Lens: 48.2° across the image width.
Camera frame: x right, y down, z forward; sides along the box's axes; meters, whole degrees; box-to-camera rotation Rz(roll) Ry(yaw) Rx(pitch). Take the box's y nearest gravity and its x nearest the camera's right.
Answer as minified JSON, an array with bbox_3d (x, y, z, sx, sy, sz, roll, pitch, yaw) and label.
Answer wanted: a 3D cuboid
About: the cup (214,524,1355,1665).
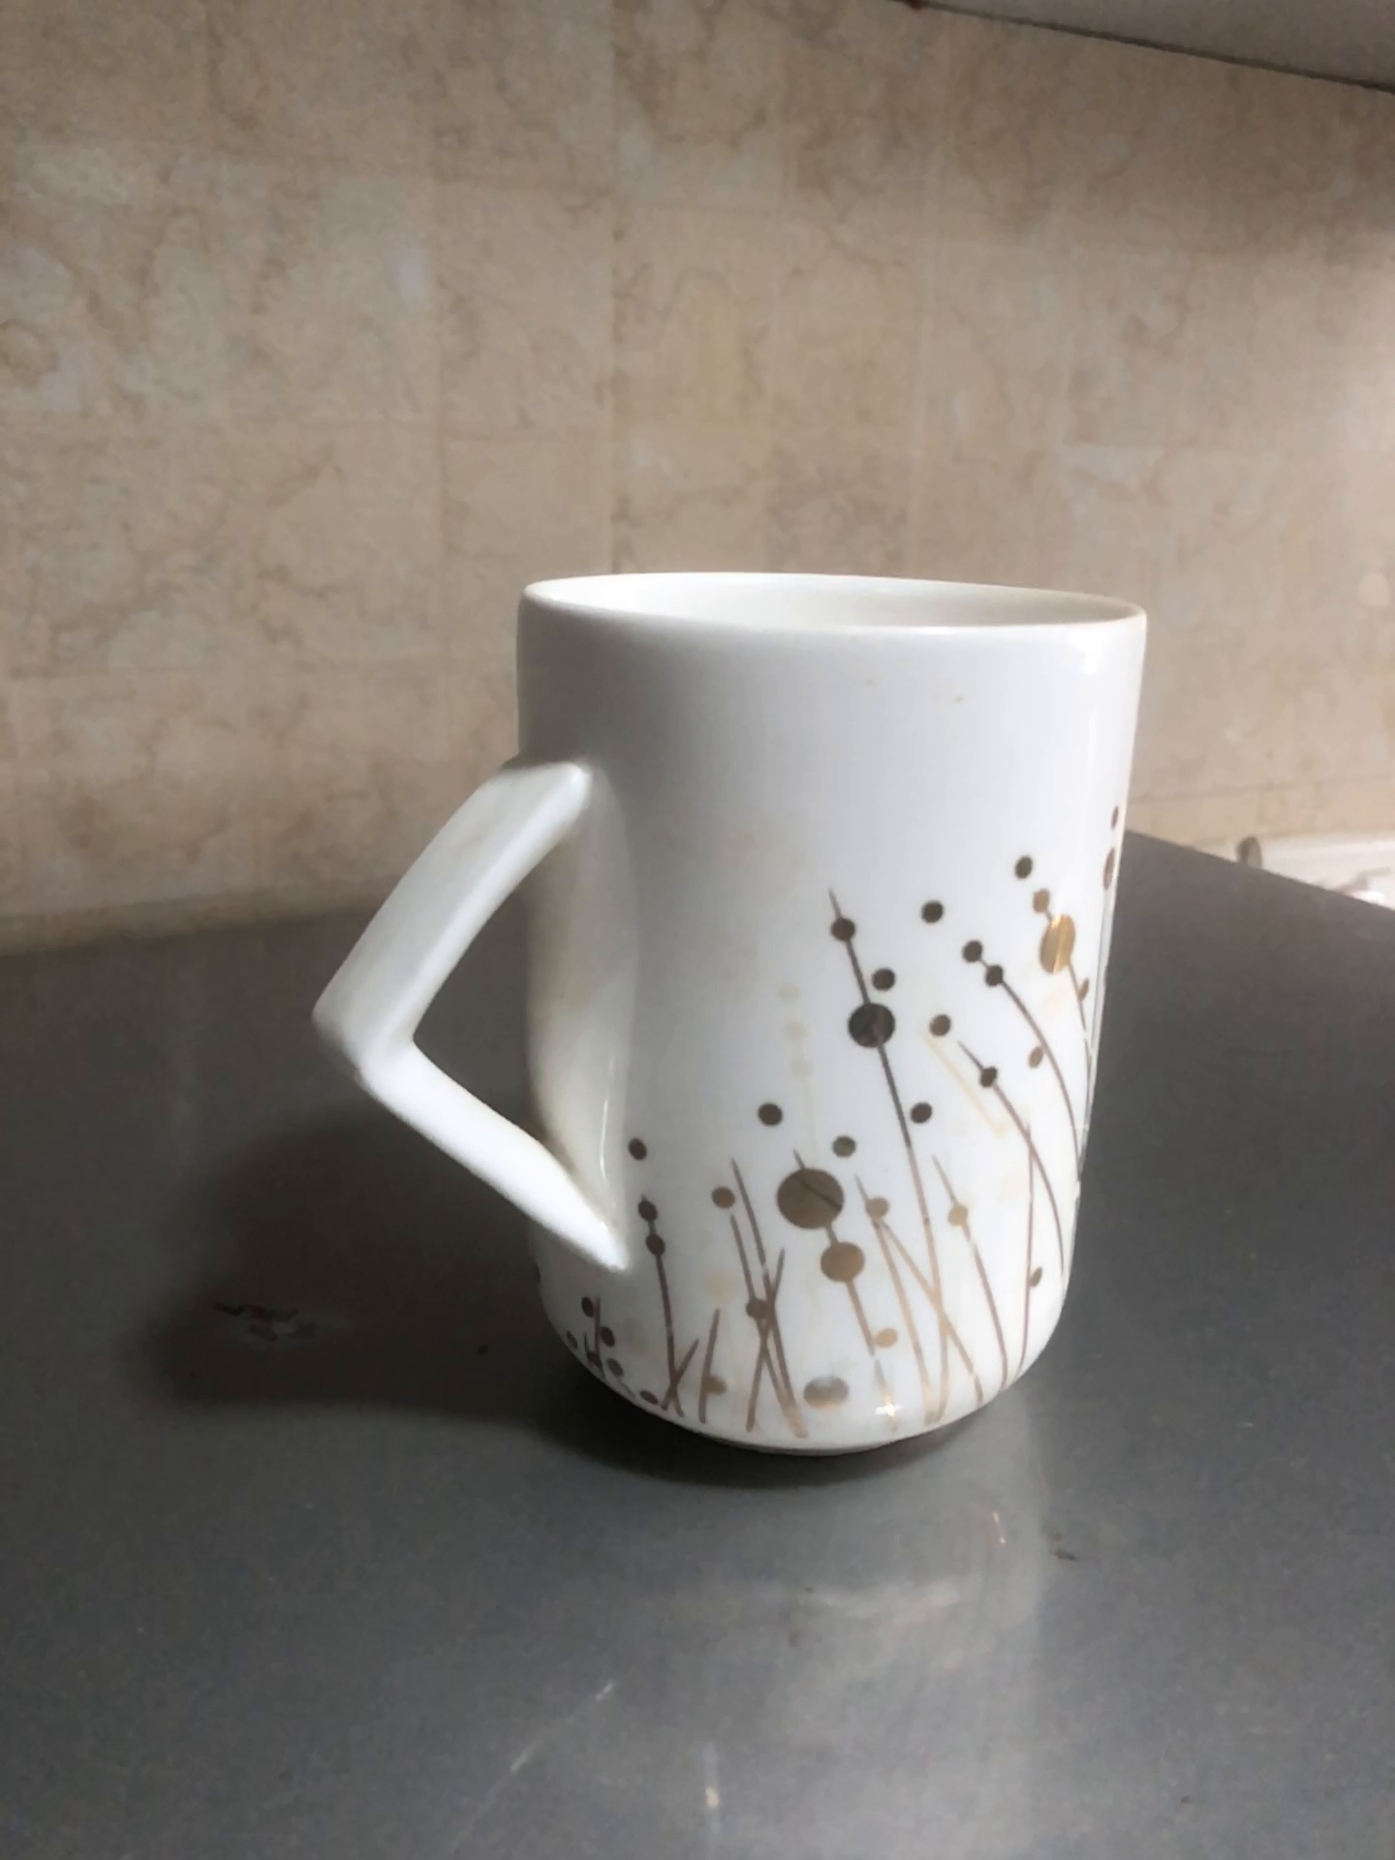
[{"bbox_3d":[0.012,0.002,0.197,0.110,0.100,0.080,-13,22,-41],"label":"cup"}]
